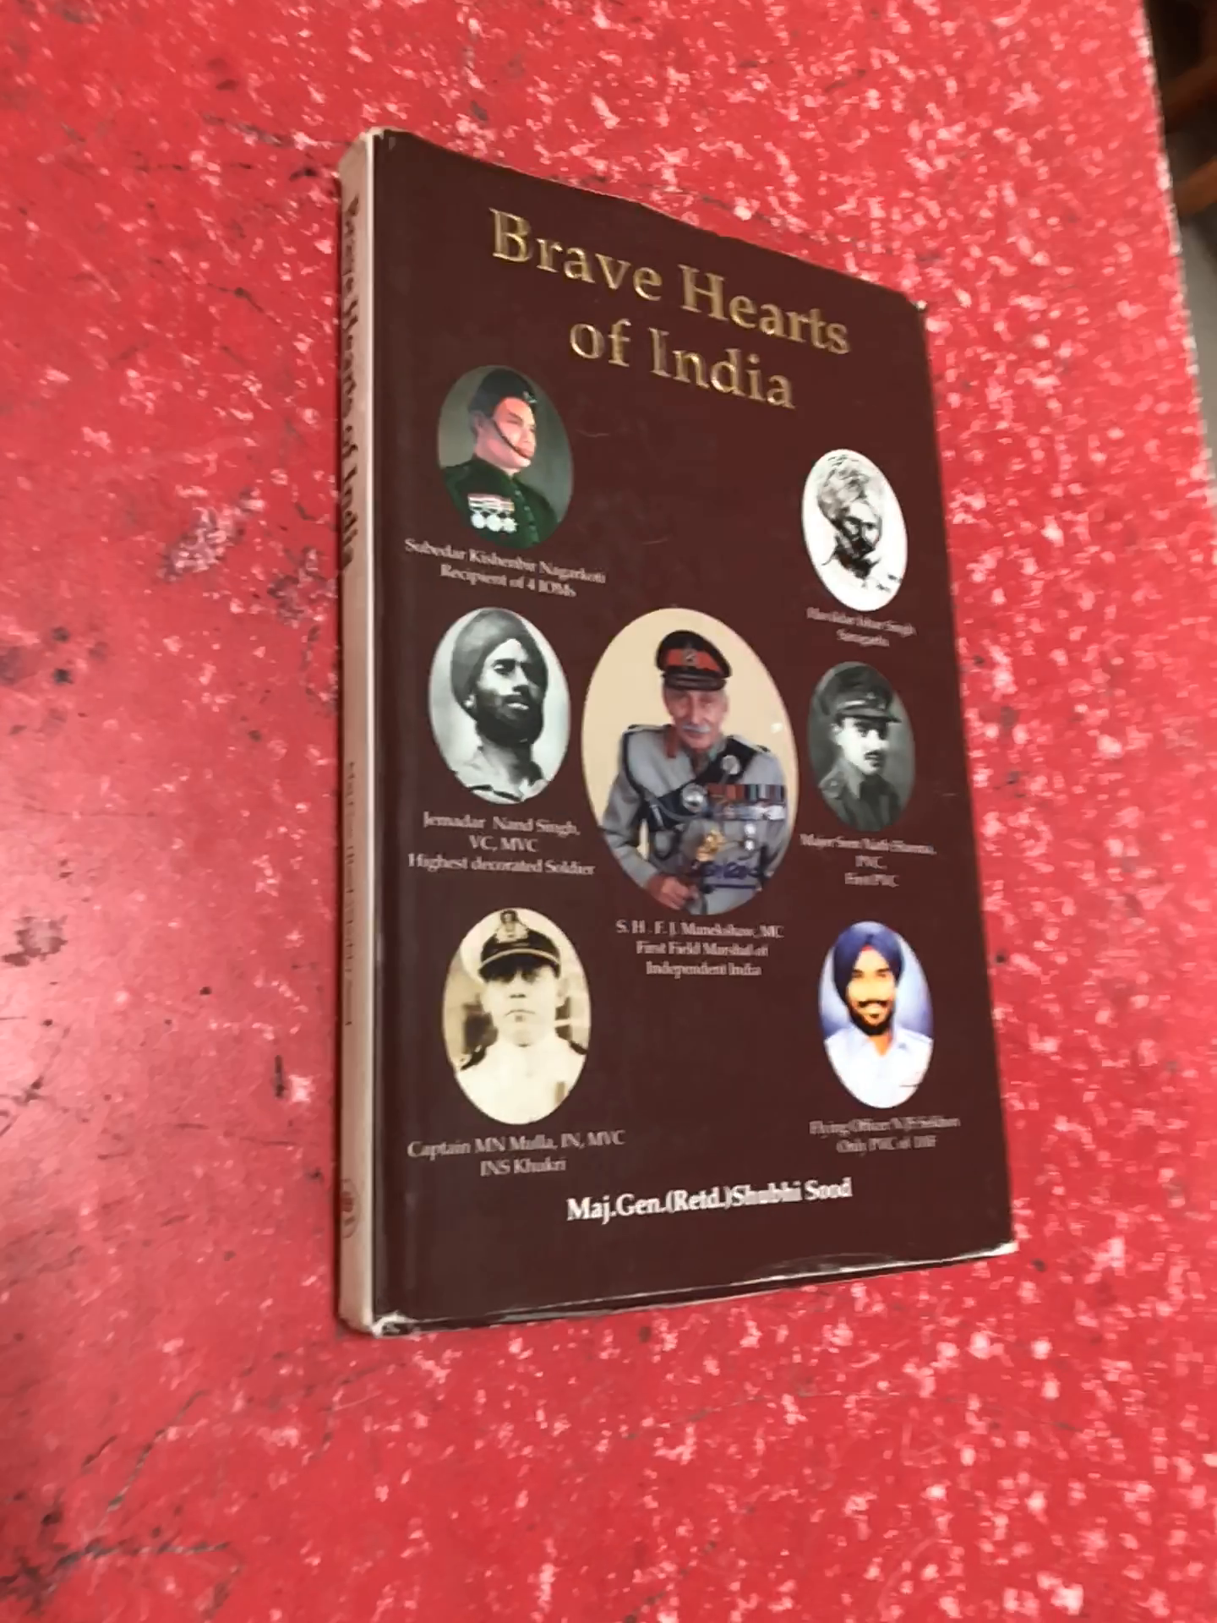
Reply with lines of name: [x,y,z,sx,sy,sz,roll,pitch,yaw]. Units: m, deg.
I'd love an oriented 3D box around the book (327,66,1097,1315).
book: [0.021,-0.023,0.276,0.150,0.030,0.220,4,76,-28]
